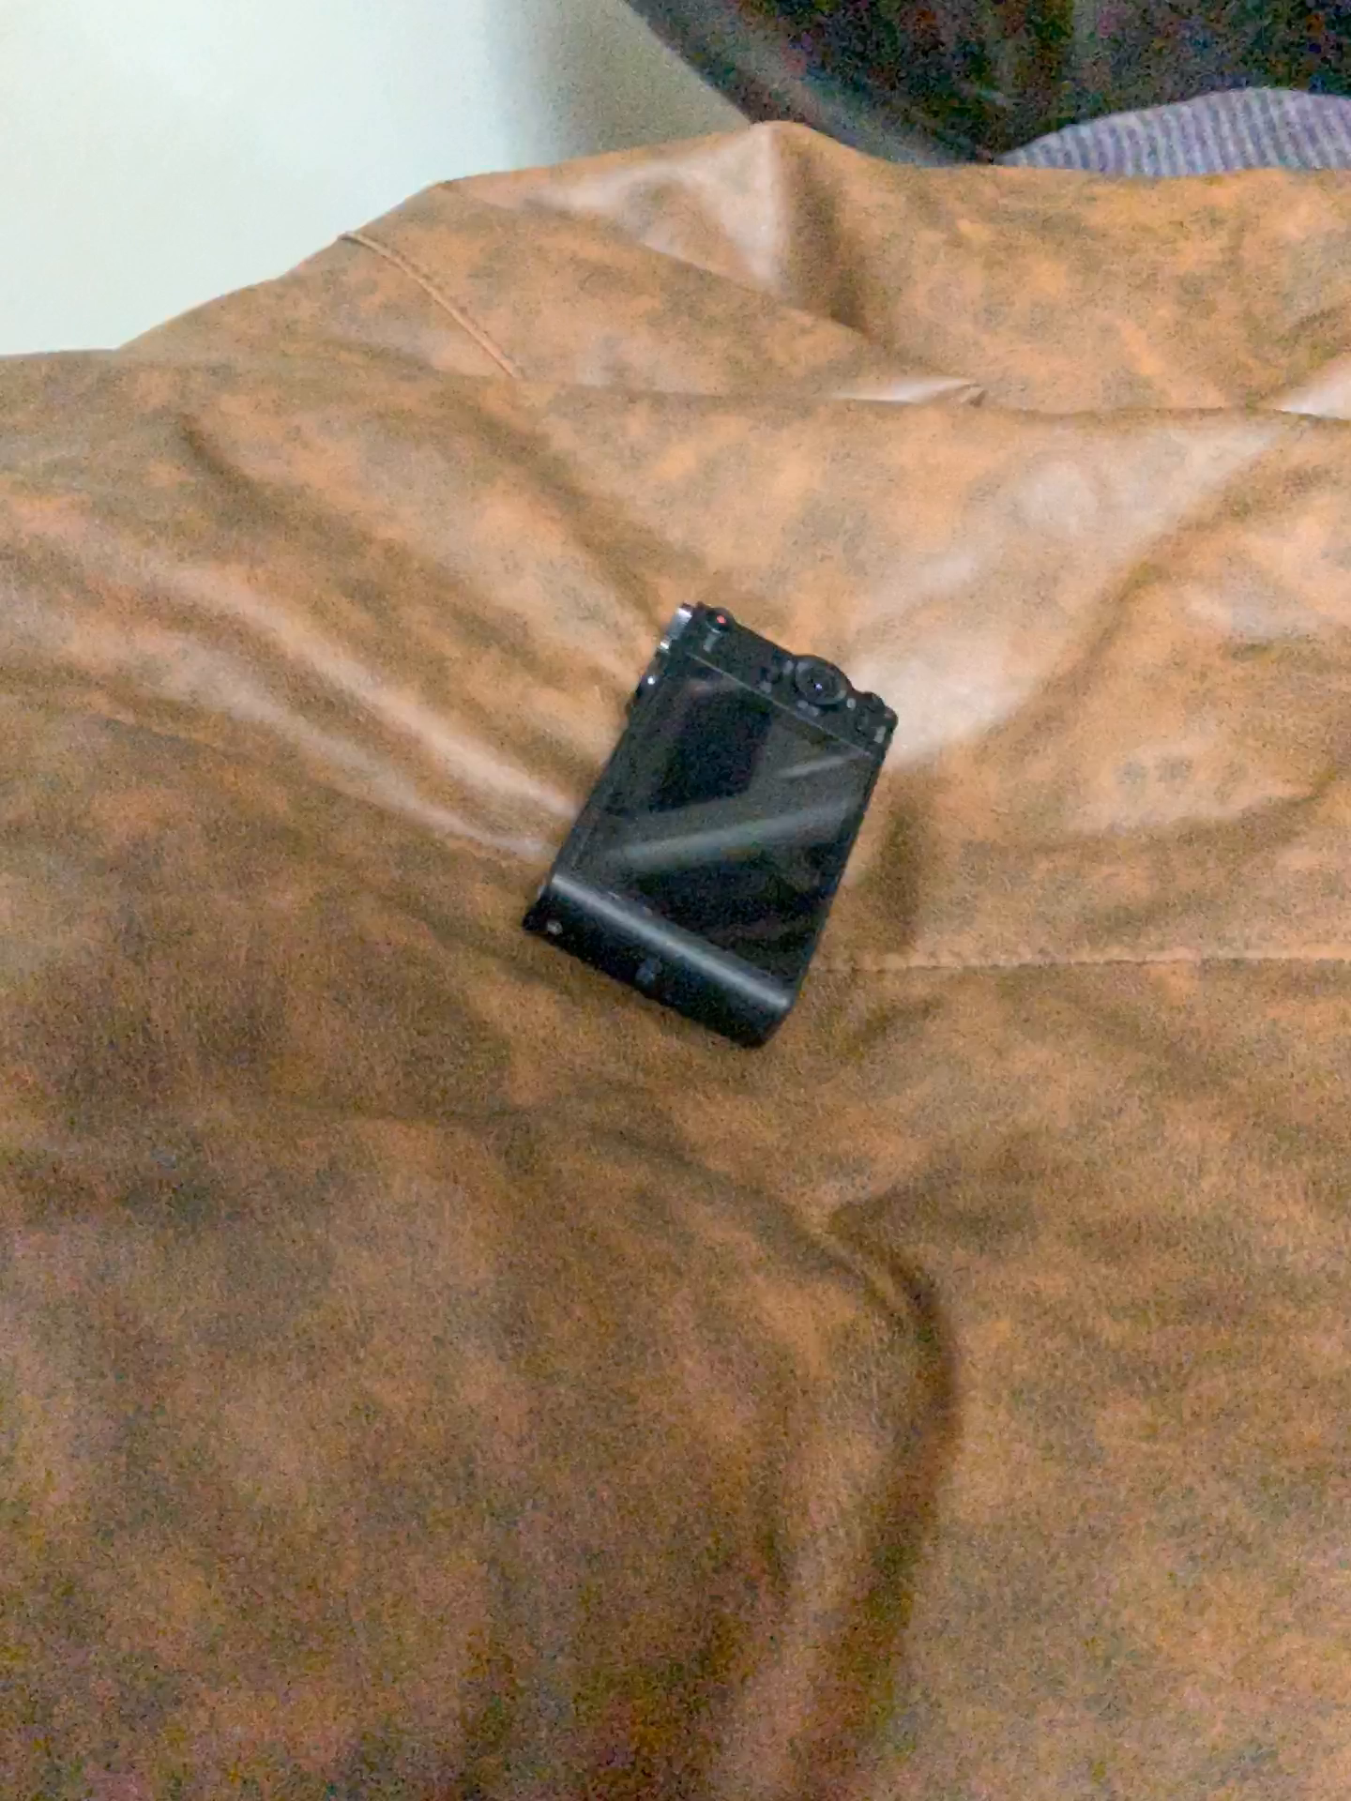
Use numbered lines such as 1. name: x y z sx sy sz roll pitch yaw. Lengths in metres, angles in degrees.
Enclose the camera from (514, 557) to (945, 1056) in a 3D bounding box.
1. camera: 0.015 -0.024 0.300 0.060 0.024 0.100 24 53 1
